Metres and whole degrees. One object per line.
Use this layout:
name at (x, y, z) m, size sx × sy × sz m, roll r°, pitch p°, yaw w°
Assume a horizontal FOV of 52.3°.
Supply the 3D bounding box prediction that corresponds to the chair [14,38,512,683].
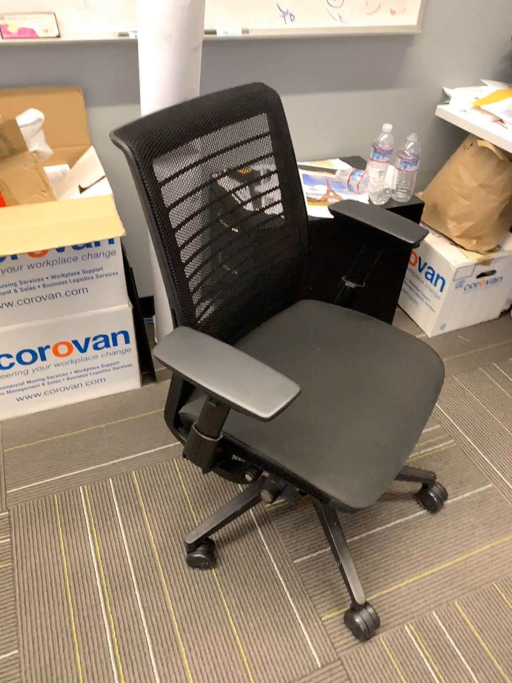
chair at (0.138, 0.011, 1.041) m, size 0.681 × 0.915 × 0.663 m, roll 22°, pitch 43°, yaw 21°
